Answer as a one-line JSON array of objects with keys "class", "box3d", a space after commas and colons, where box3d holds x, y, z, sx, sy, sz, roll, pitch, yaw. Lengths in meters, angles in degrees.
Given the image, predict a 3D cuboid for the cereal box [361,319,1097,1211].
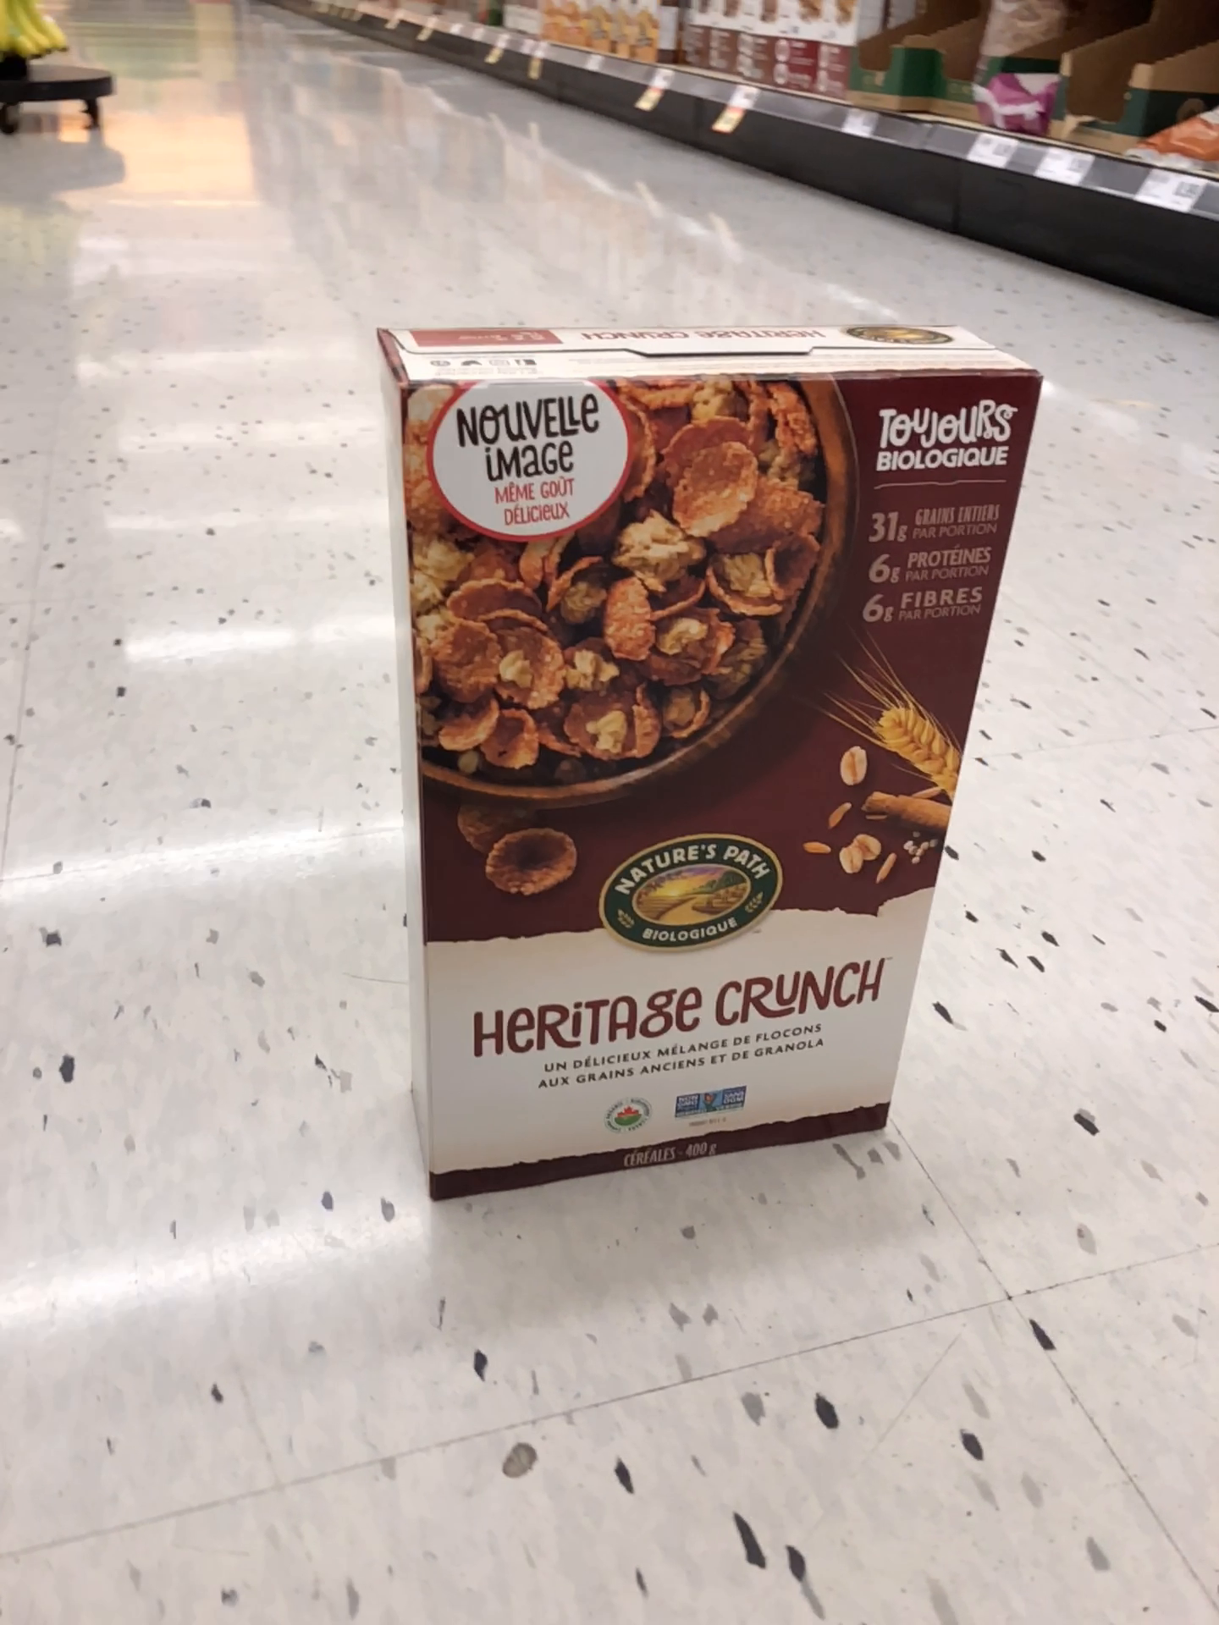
[{"class": "cereal box", "box3d": [0.023, -0.007, 0.393, 0.170, 0.248, 0.060, -6, 32, -14]}]
